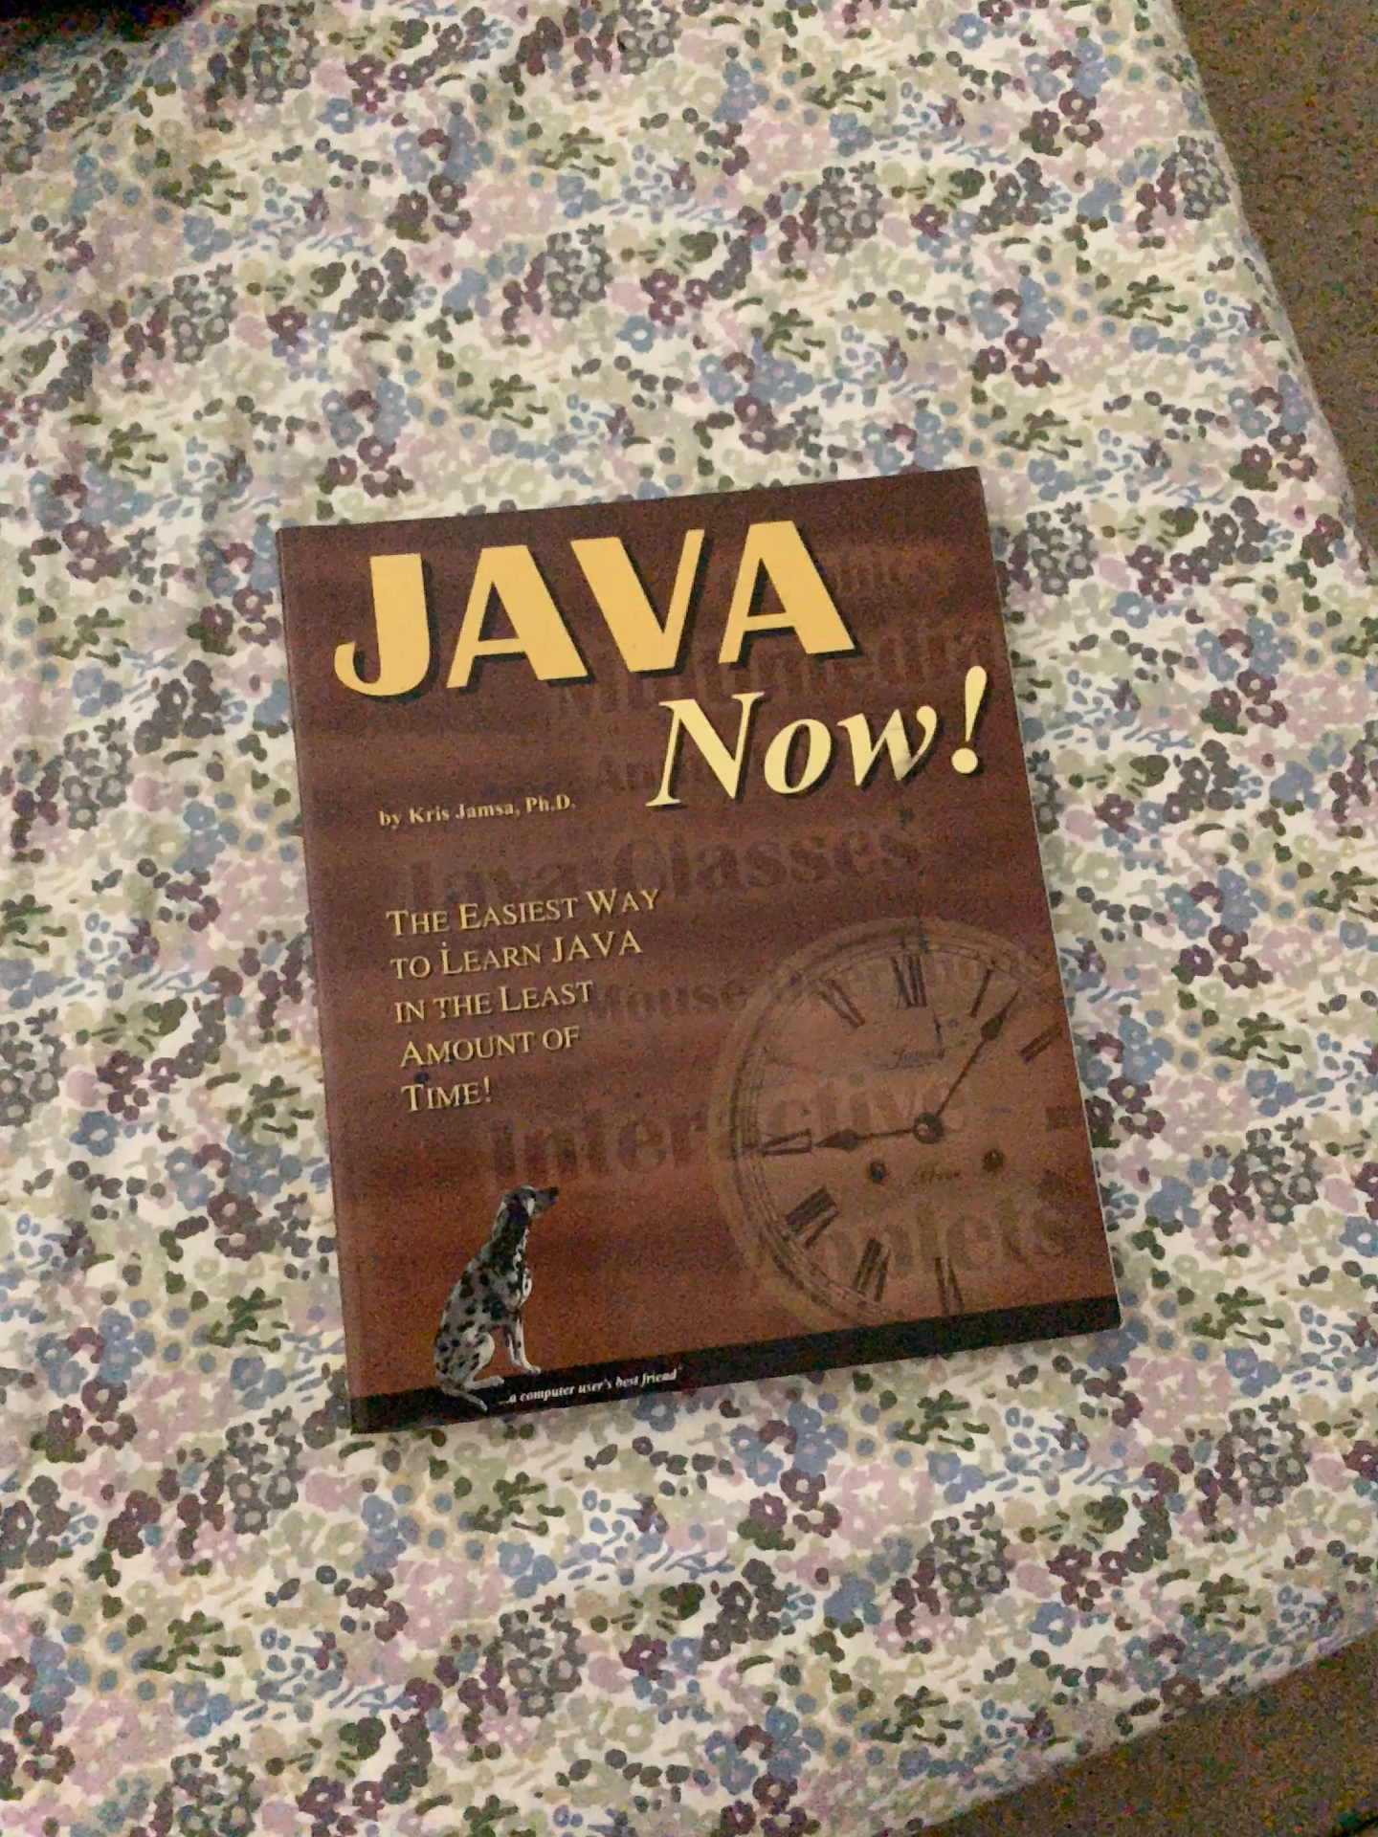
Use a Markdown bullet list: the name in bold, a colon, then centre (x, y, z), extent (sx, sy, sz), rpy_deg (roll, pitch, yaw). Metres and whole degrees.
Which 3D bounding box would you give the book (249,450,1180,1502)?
- **book**: centre (0.004, 0.007, 0.396), extent (0.220, 0.030, 0.260), rpy_deg (-6, 82, -6)
